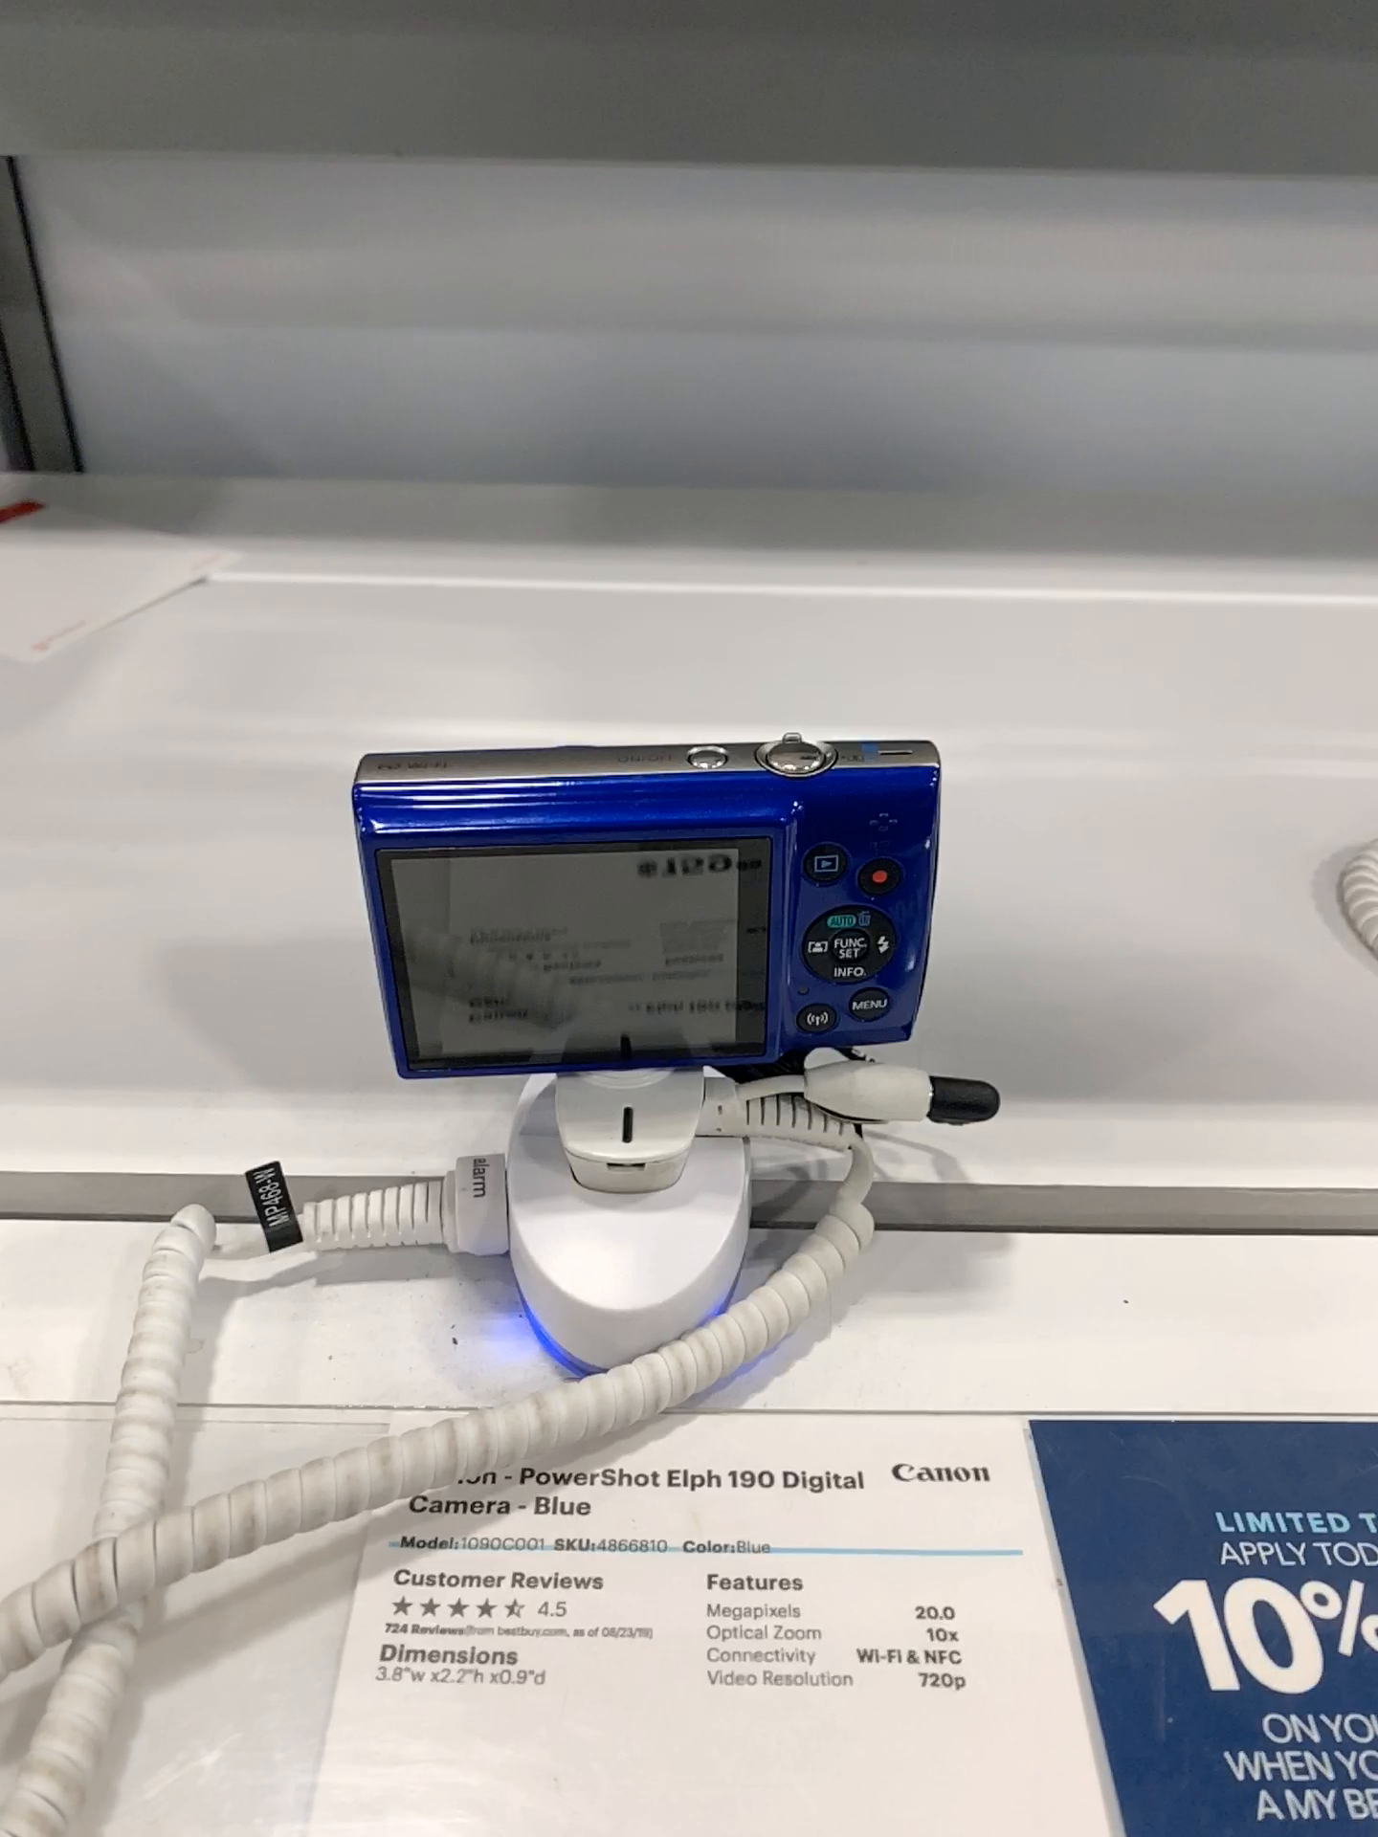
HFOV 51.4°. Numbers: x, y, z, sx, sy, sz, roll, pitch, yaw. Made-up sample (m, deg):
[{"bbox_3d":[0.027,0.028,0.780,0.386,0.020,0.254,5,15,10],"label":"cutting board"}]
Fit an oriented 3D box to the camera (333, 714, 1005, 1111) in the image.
[{"bbox_3d":[-0.004,-0.001,0.241,0.100,0.060,0.027,-2,38,-6],"label":"camera"}]
